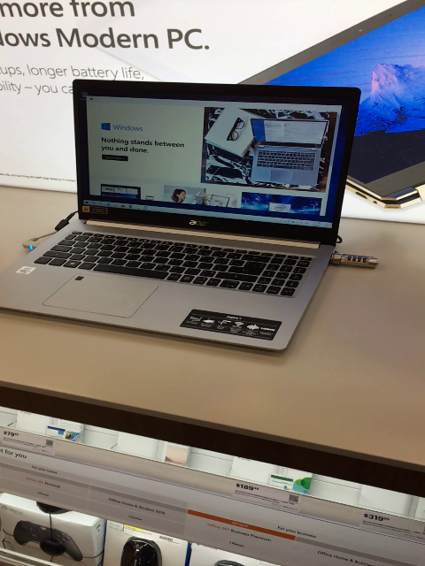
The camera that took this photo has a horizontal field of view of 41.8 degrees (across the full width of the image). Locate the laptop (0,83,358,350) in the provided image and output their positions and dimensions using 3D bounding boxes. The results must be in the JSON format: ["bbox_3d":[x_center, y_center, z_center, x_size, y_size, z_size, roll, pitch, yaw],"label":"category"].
[{"bbox_3d":[-0.063,-0.105,0.693,0.397,0.199,0.297,10,38,16],"label":"laptop"}]
